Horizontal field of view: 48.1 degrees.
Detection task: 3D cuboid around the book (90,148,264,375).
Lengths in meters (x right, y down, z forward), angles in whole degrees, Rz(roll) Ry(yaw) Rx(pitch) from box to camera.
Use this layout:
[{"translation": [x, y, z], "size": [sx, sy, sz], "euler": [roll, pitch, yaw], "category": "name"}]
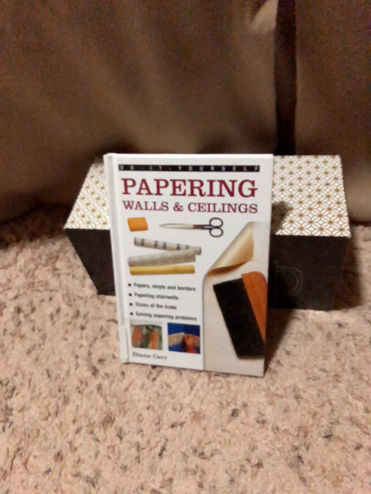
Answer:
[{"translation": [-0.005, 0.017, 0.376], "size": [0.143, 0.207, 0.015], "euler": [3, 20, 12], "category": "book"}]
